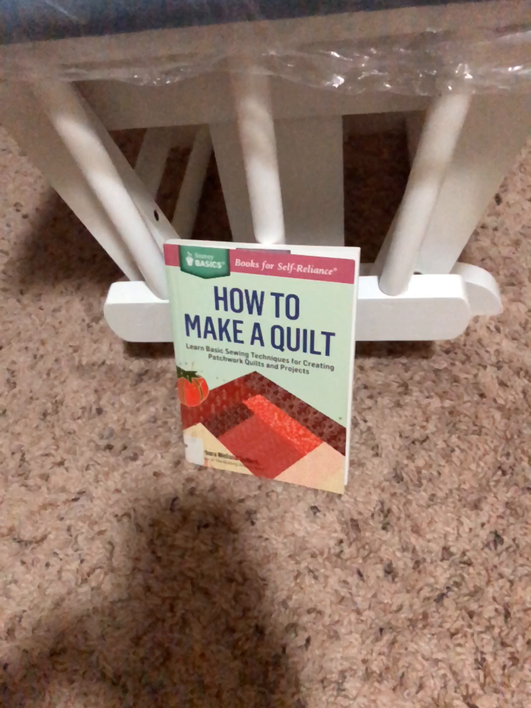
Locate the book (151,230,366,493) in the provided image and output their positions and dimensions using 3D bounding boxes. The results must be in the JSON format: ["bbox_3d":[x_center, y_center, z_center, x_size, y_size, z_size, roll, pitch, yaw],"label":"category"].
[{"bbox_3d":[-0.006,0.008,0.394,0.130,0.168,0.020,8,28,15],"label":"book"}]
